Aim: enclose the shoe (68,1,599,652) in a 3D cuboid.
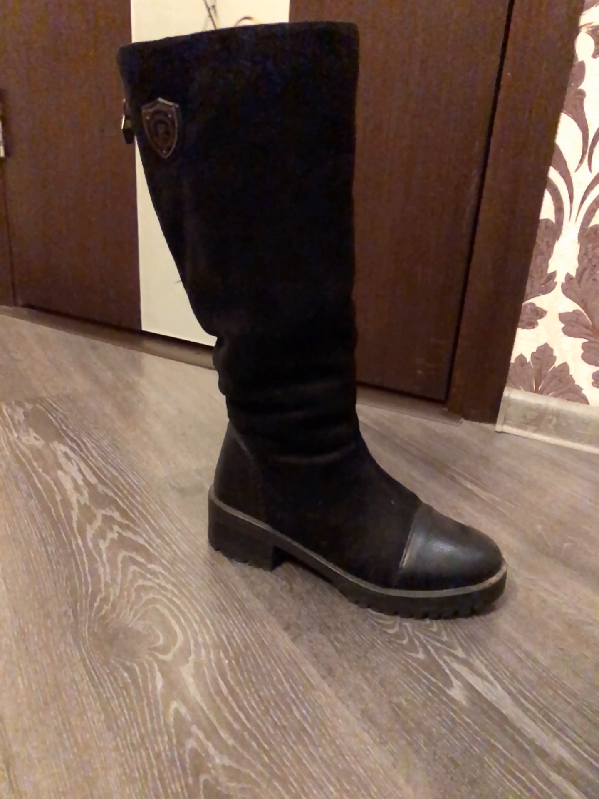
[{"bbox_3d":[0.015,-0.052,0.449,0.290,0.358,0.121,11,23,17],"label":"shoe"}]
